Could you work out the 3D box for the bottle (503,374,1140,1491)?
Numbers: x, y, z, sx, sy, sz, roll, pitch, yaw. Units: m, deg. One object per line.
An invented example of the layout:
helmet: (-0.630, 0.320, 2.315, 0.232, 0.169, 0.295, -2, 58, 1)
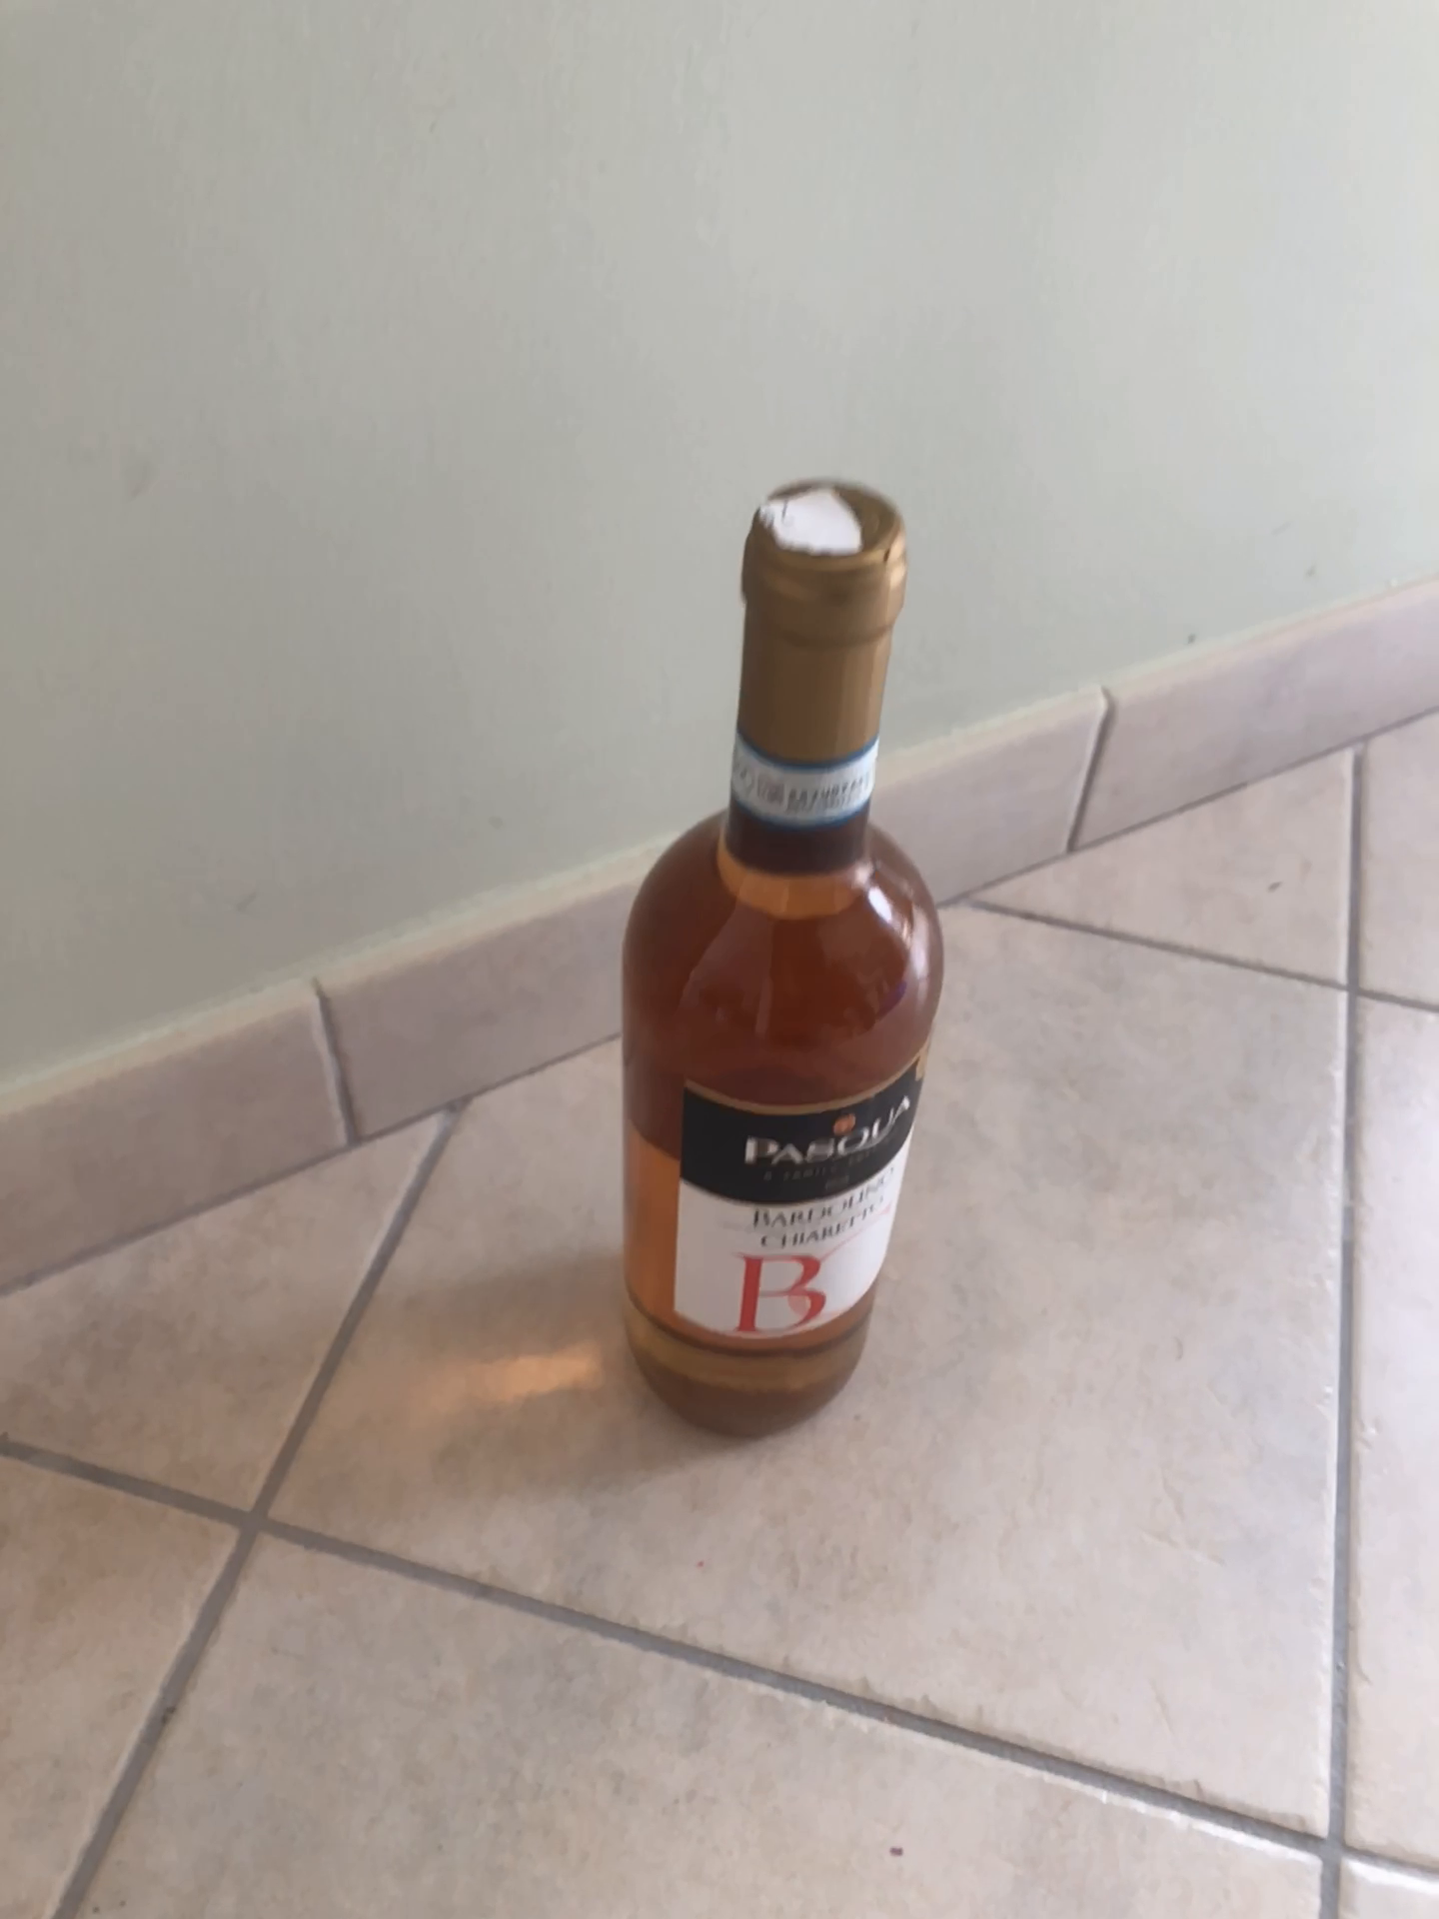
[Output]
bottle: (0.009, 0.017, 0.366, 0.080, 0.268, 0.080, 2, 49, -2)
